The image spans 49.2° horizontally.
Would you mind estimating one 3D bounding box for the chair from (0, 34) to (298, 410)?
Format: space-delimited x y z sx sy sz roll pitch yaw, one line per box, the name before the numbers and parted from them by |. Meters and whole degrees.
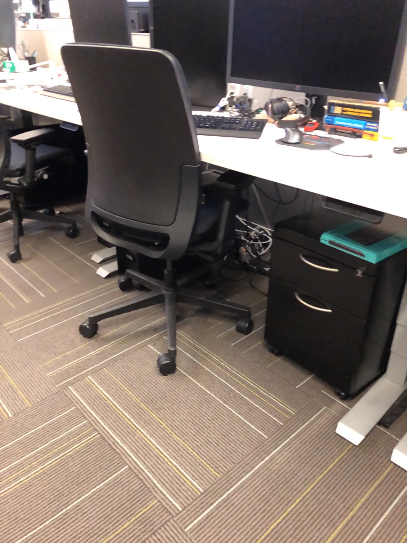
chair | -0.236 -0.266 1.587 0.662 1.014 0.782 -24 36 -37
